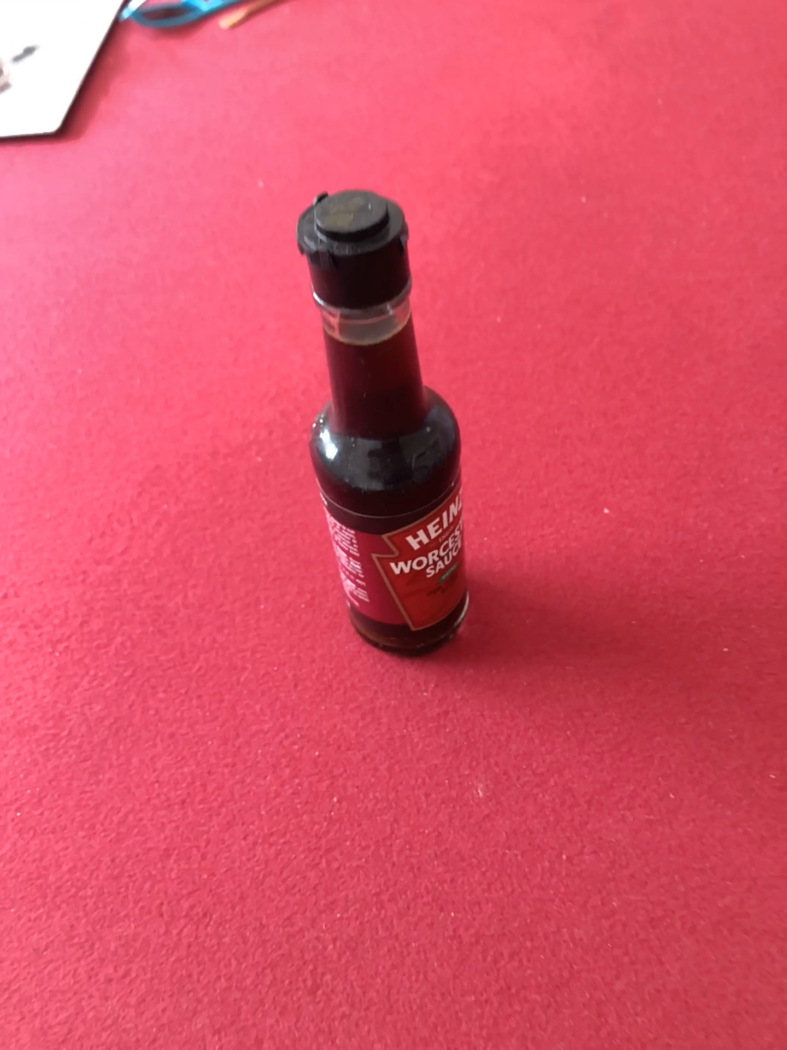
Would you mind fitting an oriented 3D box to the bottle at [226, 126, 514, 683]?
[{"bbox_3d":[0.002,-0.024,0.283,0.050,0.179,0.050,-3,51,4],"label":"bottle"}]
